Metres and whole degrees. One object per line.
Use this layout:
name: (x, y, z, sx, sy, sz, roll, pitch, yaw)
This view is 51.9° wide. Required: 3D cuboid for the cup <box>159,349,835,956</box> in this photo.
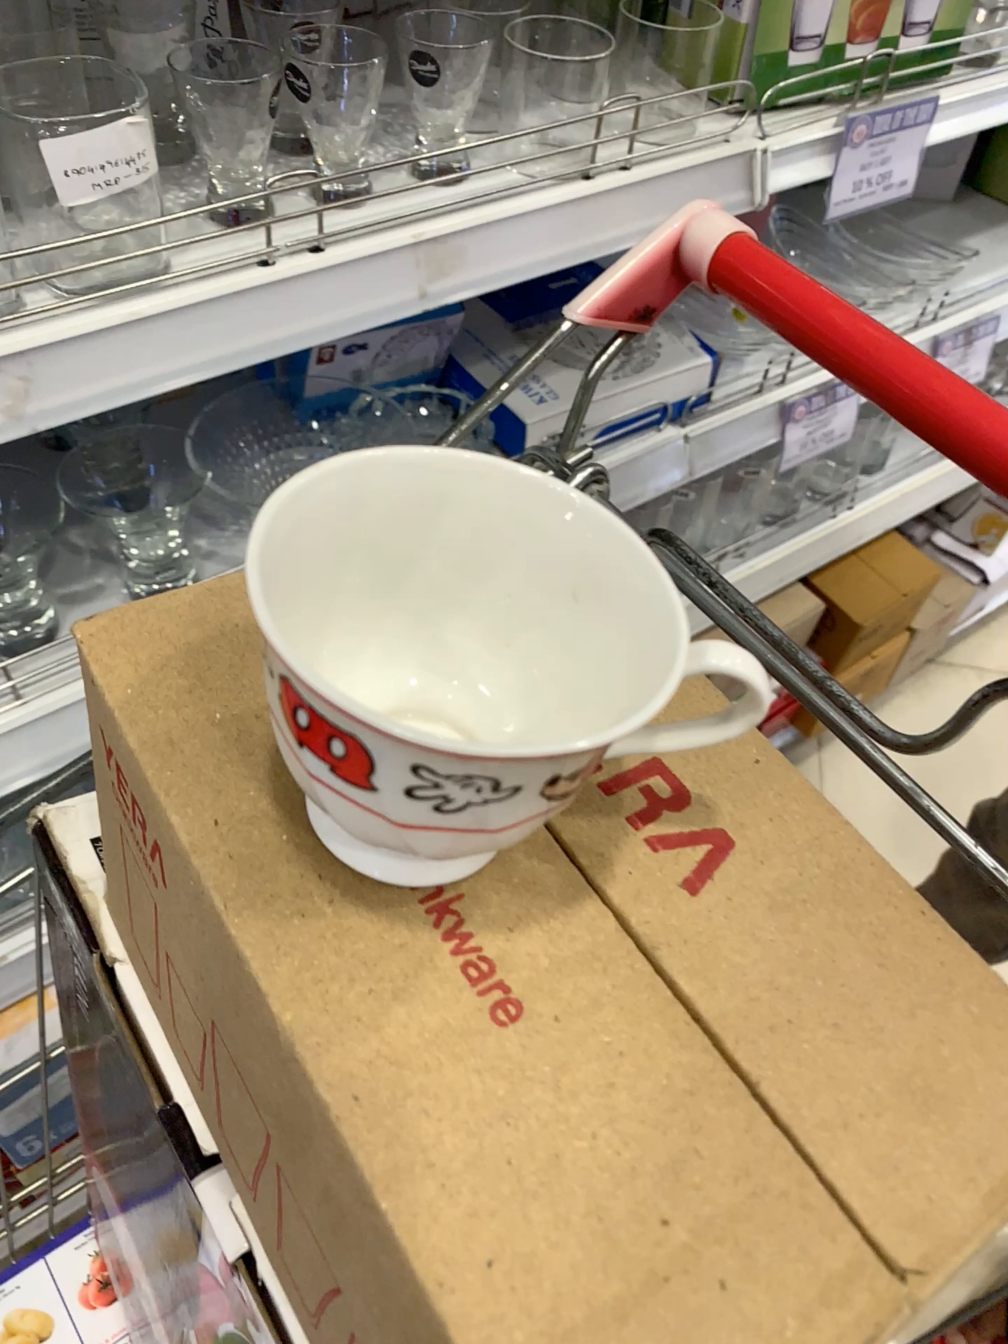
cup: (-0.001, -0.004, 0.199, 0.100, 0.060, 0.080, 11, 49, -4)
